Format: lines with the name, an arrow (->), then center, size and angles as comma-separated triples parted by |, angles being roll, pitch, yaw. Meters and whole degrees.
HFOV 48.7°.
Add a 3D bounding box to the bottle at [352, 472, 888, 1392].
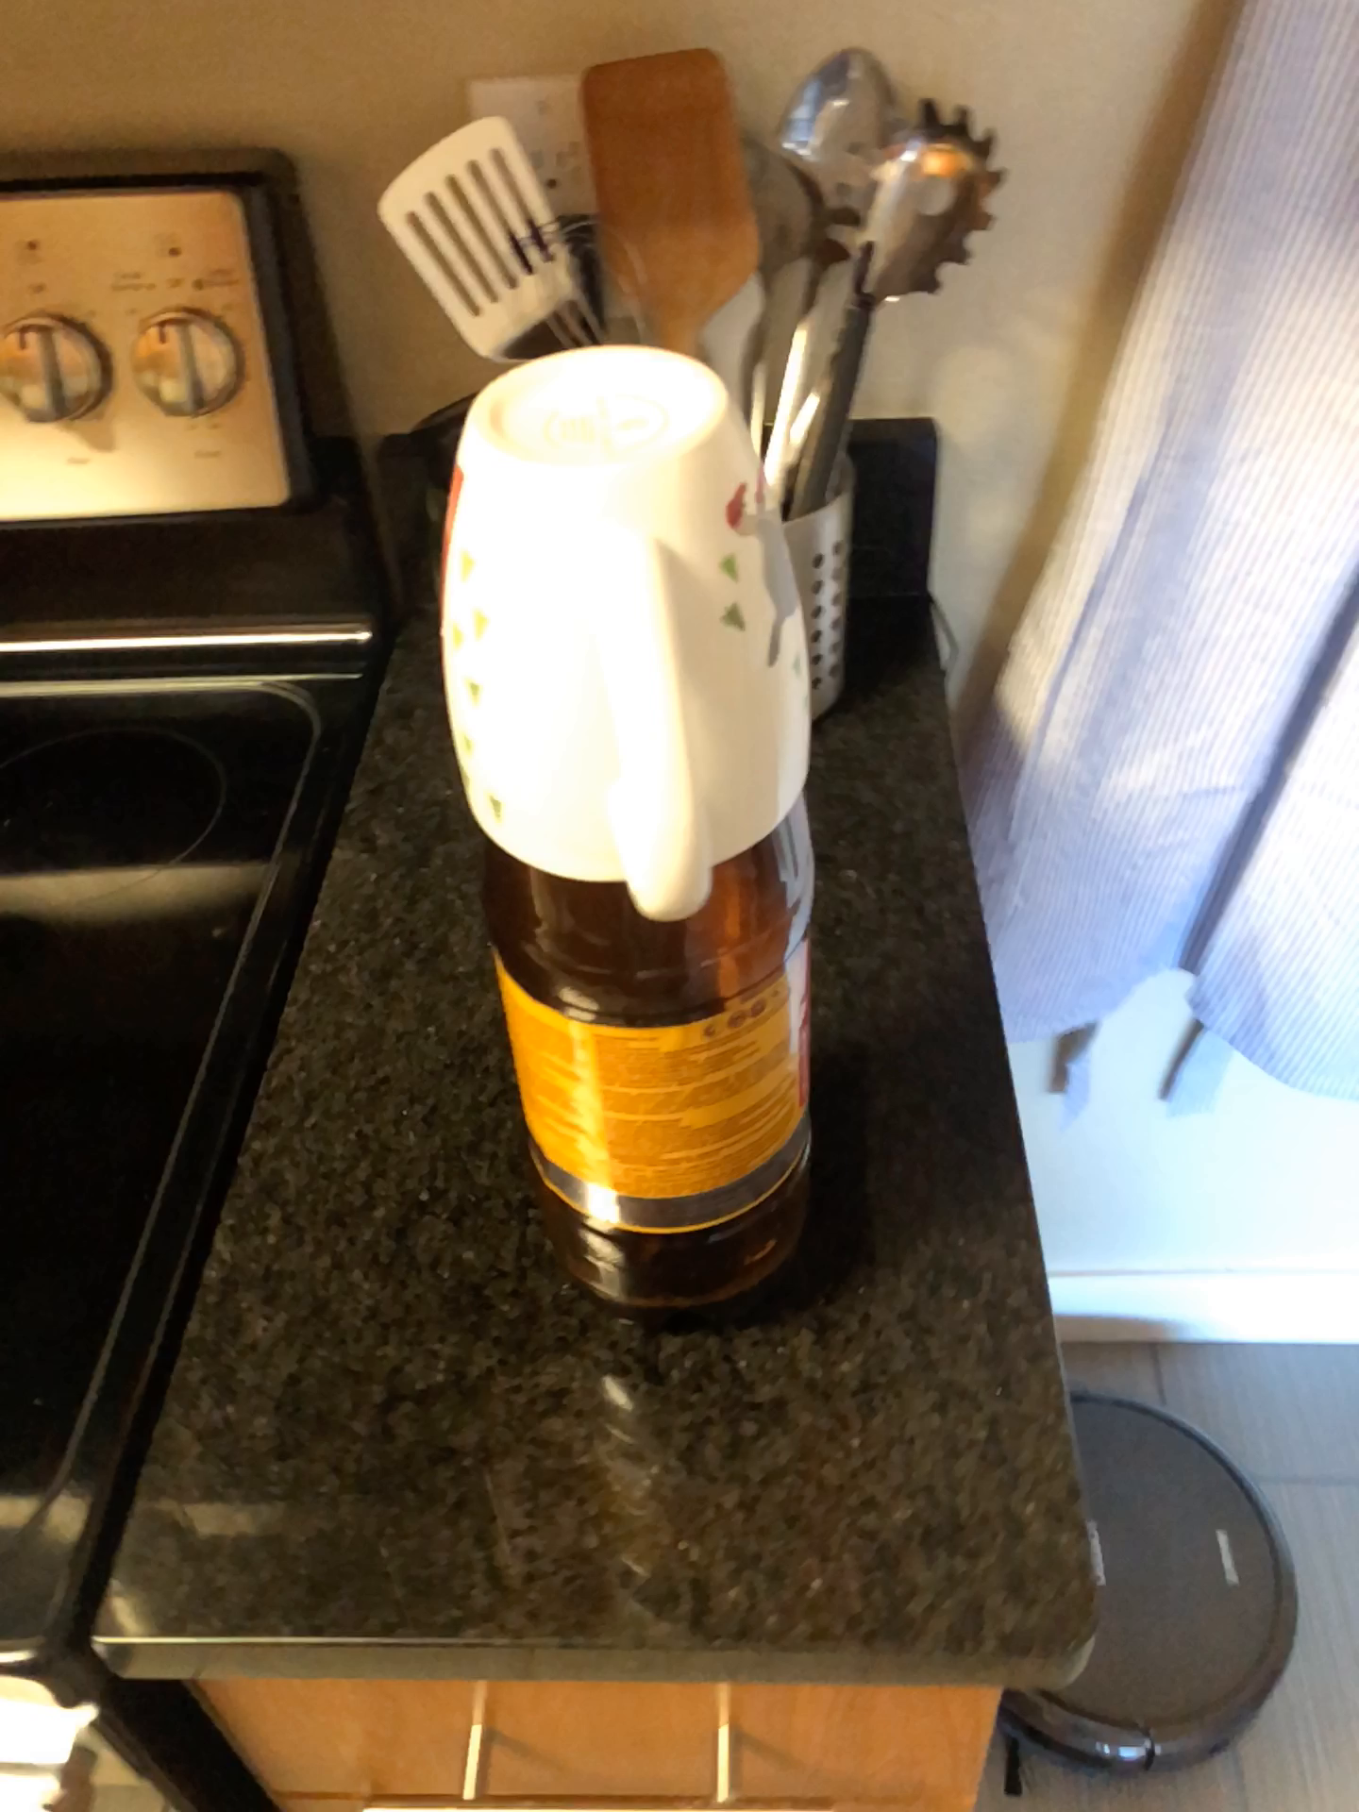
bottle -> -0.006, 0.022, 0.483 | 0.100, 0.279, 0.100 | -2, 43, 2
